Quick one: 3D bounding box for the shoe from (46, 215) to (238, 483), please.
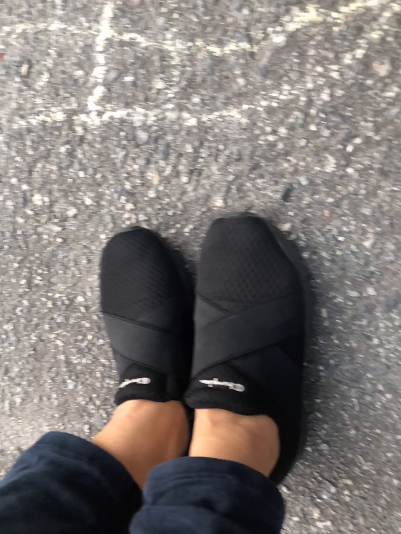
[{"bbox_3d":[-0.048,0.075,0.403,0.100,0.070,0.220,-11,98,23],"label":"shoe"}]

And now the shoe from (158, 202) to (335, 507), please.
[{"bbox_3d":[0.045,0.066,0.361,0.100,0.080,0.220,-5,100,22],"label":"shoe"}]
